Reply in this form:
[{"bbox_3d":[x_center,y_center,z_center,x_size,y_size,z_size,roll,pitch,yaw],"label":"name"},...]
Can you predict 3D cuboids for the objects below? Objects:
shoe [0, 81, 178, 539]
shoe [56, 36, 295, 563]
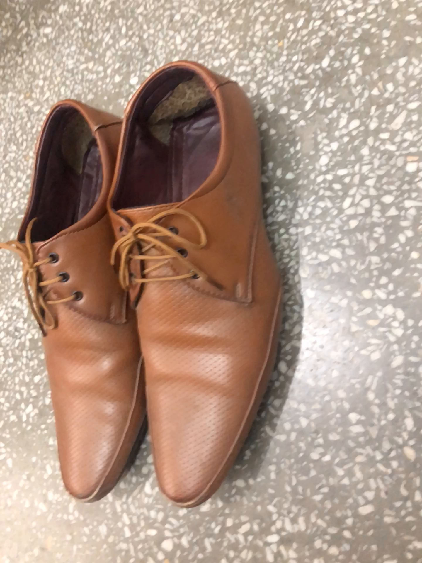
[{"bbox_3d":[-0.104,0.019,0.367,0.106,0.118,0.284,-5,79,27],"label":"shoe"},{"bbox_3d":[-0.015,0.012,0.323,0.106,0.118,0.284,-5,79,27],"label":"shoe"}]
